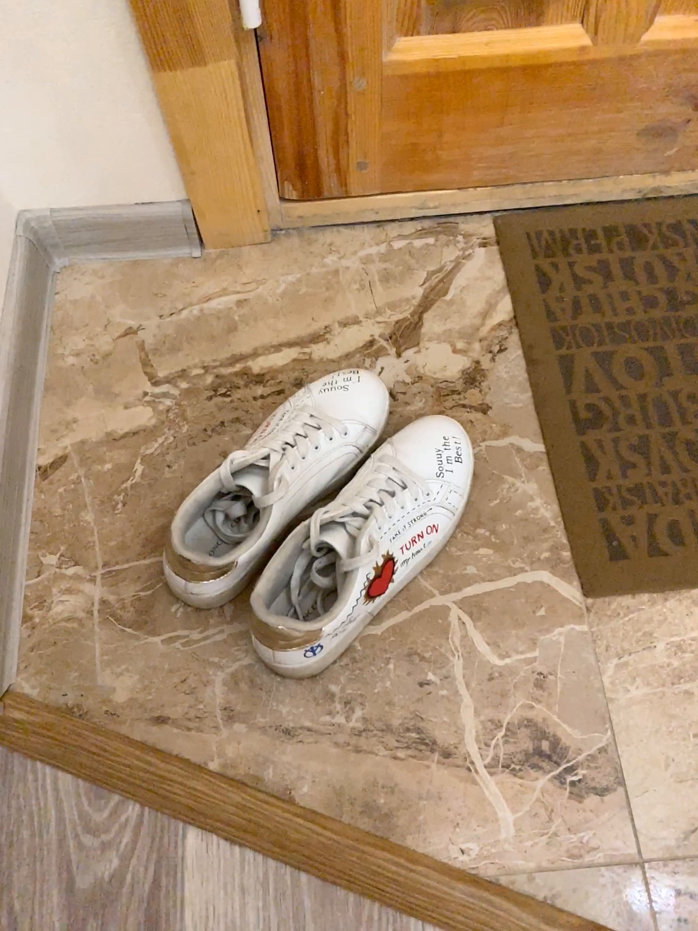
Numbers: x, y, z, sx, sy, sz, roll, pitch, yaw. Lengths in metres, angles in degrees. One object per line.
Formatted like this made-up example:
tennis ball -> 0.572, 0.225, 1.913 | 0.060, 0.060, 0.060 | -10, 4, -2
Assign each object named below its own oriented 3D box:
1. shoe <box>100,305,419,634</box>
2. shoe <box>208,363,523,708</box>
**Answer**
shoe -> -0.061, -0.001, 0.580 | 0.092, 0.080, 0.256 | 37, 71, 17
shoe -> 0.019, 0.051, 0.564 | 0.092, 0.080, 0.256 | 36, 71, 17
